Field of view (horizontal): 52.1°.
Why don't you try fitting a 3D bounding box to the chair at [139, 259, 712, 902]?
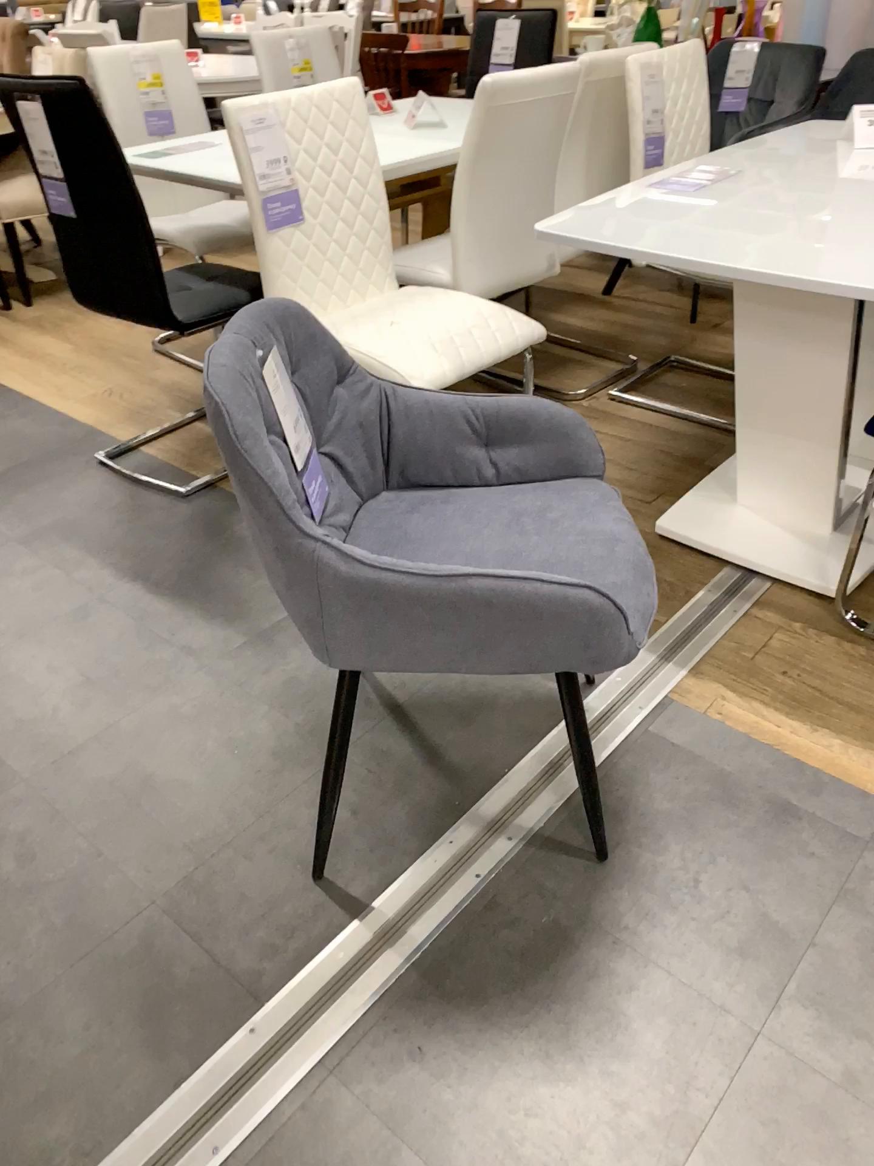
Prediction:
[{"bbox_3d":[0.017,-0.018,1.362,0.590,0.775,0.563,2,34,5],"label":"chair"}]
